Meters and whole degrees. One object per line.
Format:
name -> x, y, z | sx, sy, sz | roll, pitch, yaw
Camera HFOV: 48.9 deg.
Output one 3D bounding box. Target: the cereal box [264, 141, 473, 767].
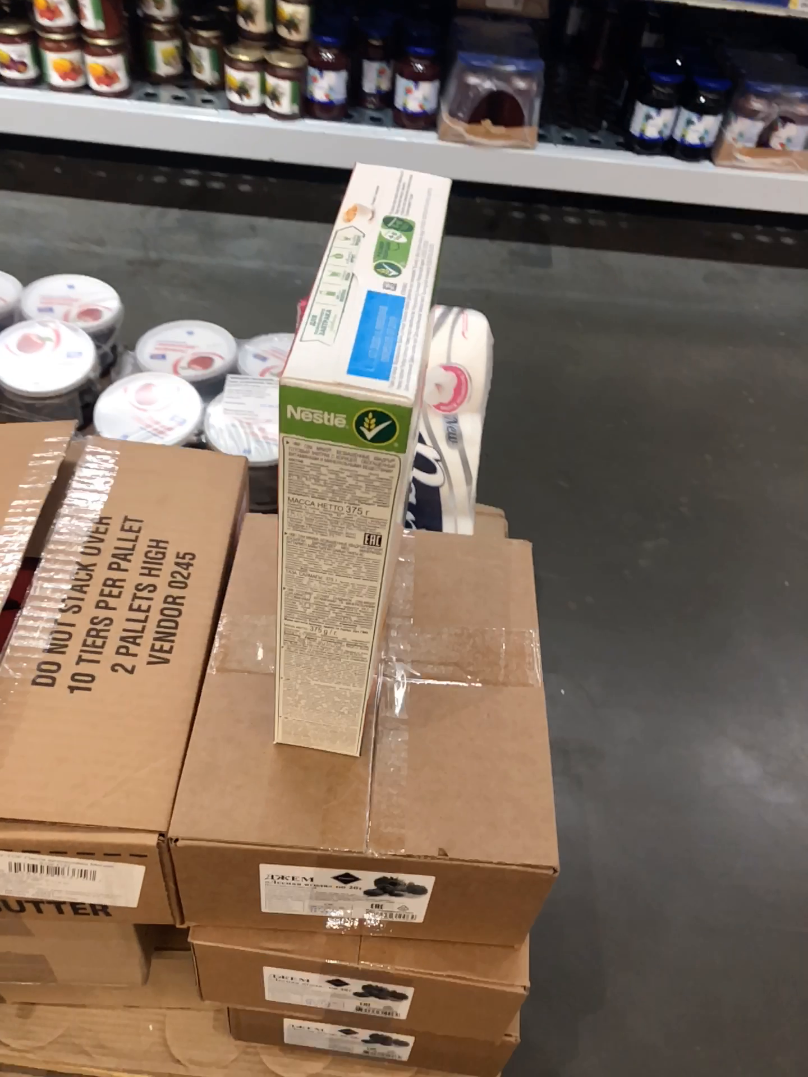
cereal box -> -0.023, -0.035, 0.493 | 0.060, 0.278, 0.201 | 10, 48, 1
